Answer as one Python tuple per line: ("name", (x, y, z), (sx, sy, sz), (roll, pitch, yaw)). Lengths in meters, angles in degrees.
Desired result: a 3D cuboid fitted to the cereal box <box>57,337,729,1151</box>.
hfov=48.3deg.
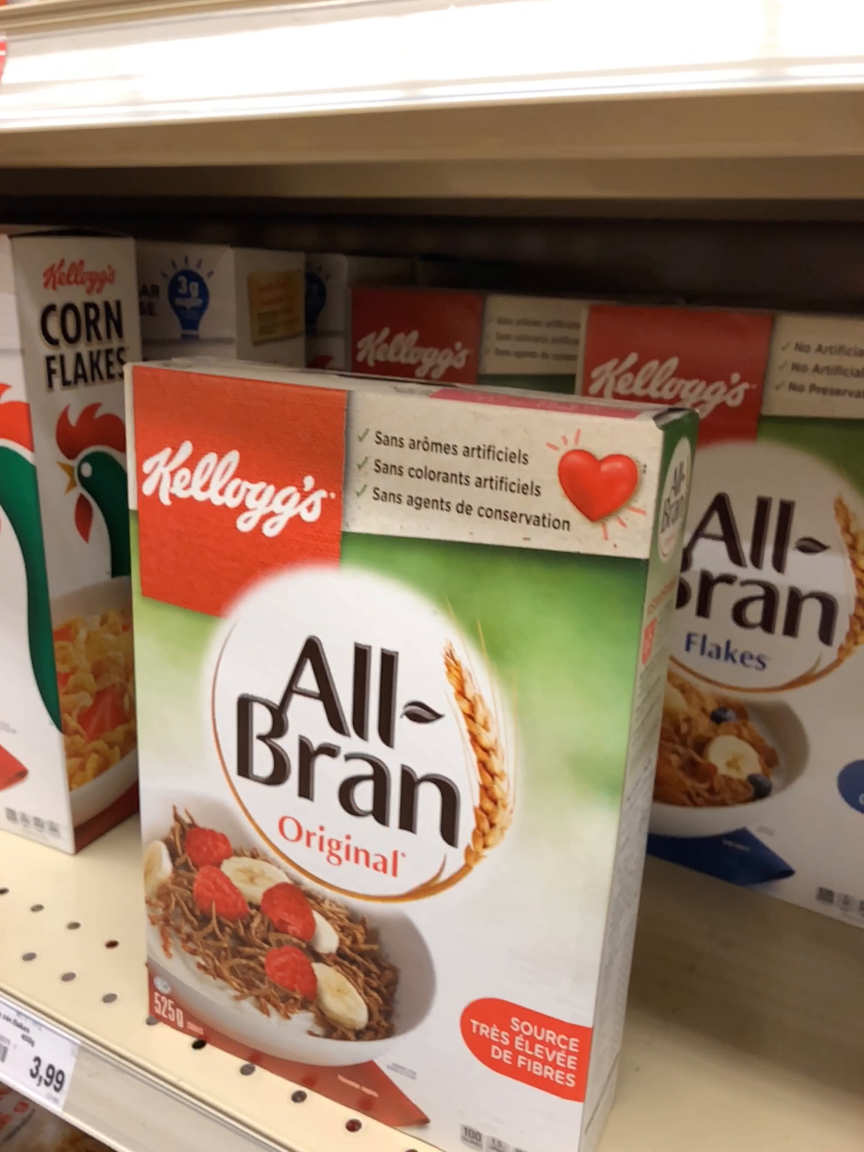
("cereal box", (-0.021, 0.054, 0.309), (0.190, 0.239, 0.050), (10, 19, 25))
